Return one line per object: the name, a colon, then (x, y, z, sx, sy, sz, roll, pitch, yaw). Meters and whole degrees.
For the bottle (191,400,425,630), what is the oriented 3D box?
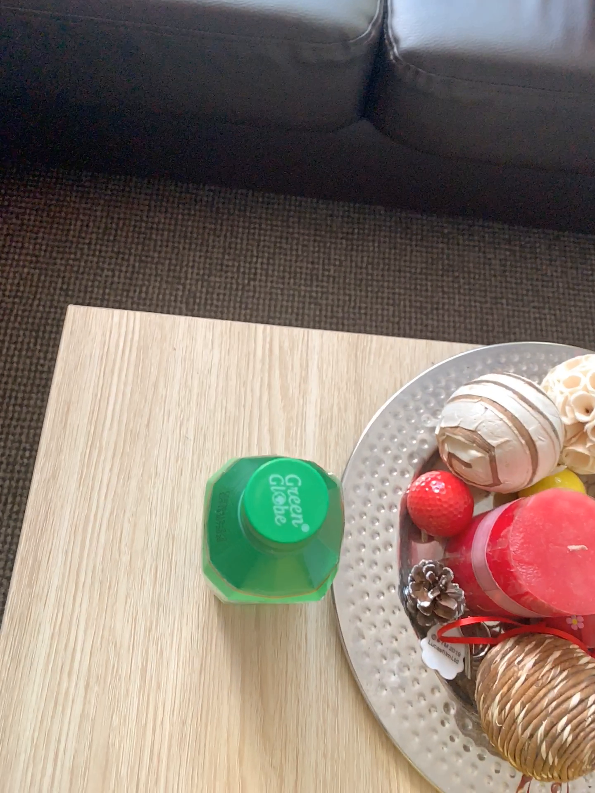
bottle: (-0.010, 0.071, 0.295, 0.070, 0.219, 0.070, 2, 71, -7)
